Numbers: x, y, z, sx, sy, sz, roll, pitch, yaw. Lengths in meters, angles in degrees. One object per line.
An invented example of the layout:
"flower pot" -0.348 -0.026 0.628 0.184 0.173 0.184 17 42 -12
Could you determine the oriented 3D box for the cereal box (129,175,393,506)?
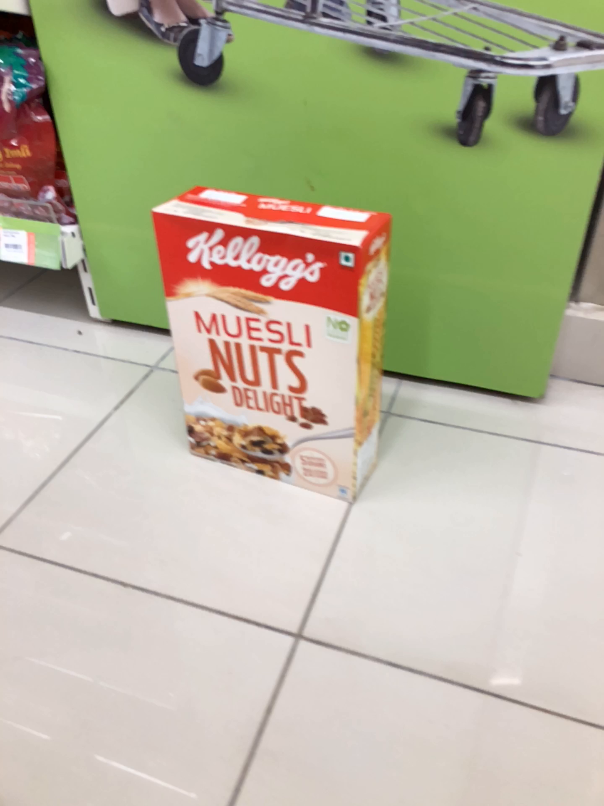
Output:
"cereal box" -0.032 -0.054 0.614 0.200 0.268 0.081 14 39 19
